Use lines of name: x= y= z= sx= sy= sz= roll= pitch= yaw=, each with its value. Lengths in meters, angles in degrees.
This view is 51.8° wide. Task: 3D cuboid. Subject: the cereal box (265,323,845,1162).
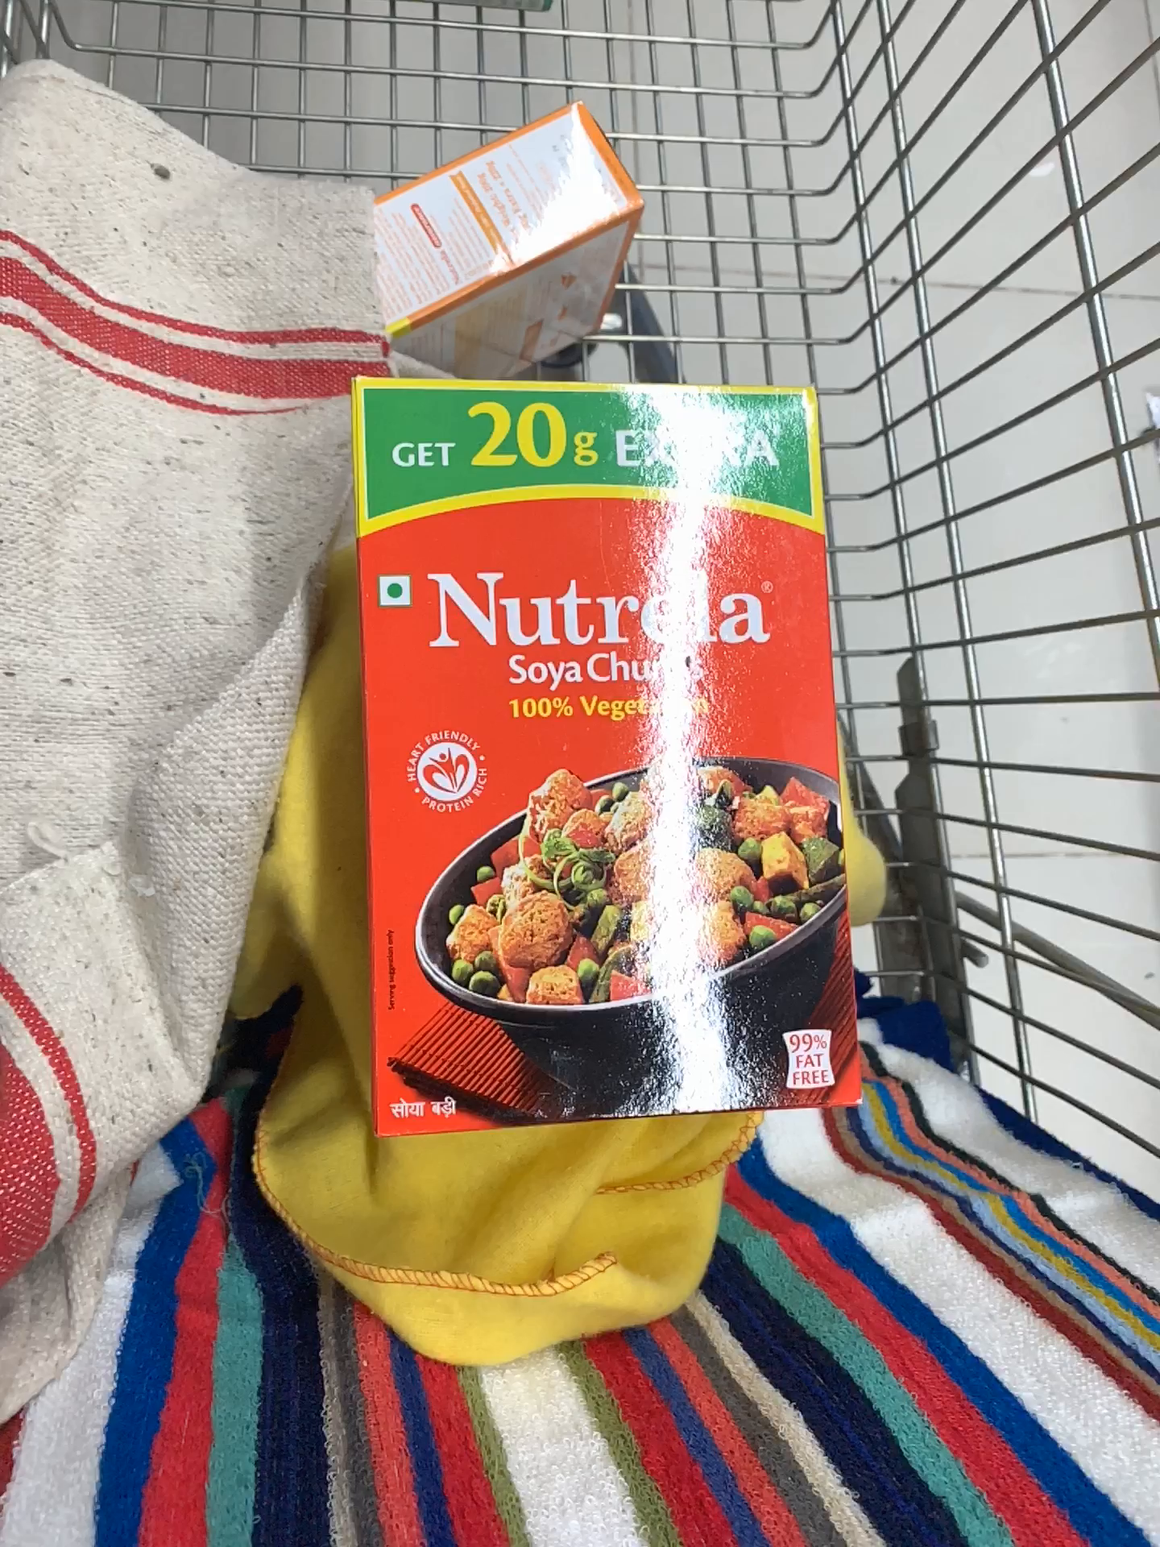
cereal box: x=-0.010 y=-0.009 z=0.292 sx=0.120 sy=0.060 sz=0.180 roll=-2 pitch=84 yaw=-9
